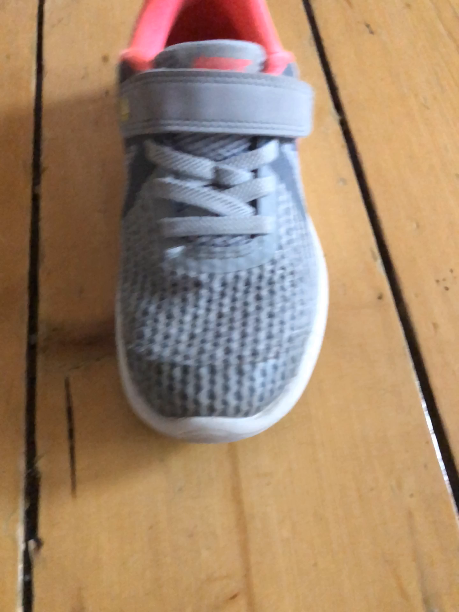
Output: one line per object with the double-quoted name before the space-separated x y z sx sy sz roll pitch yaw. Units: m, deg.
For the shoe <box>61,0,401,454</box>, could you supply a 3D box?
"shoe" -0.006 -0.046 0.190 0.080 0.070 0.181 -3 65 -3
